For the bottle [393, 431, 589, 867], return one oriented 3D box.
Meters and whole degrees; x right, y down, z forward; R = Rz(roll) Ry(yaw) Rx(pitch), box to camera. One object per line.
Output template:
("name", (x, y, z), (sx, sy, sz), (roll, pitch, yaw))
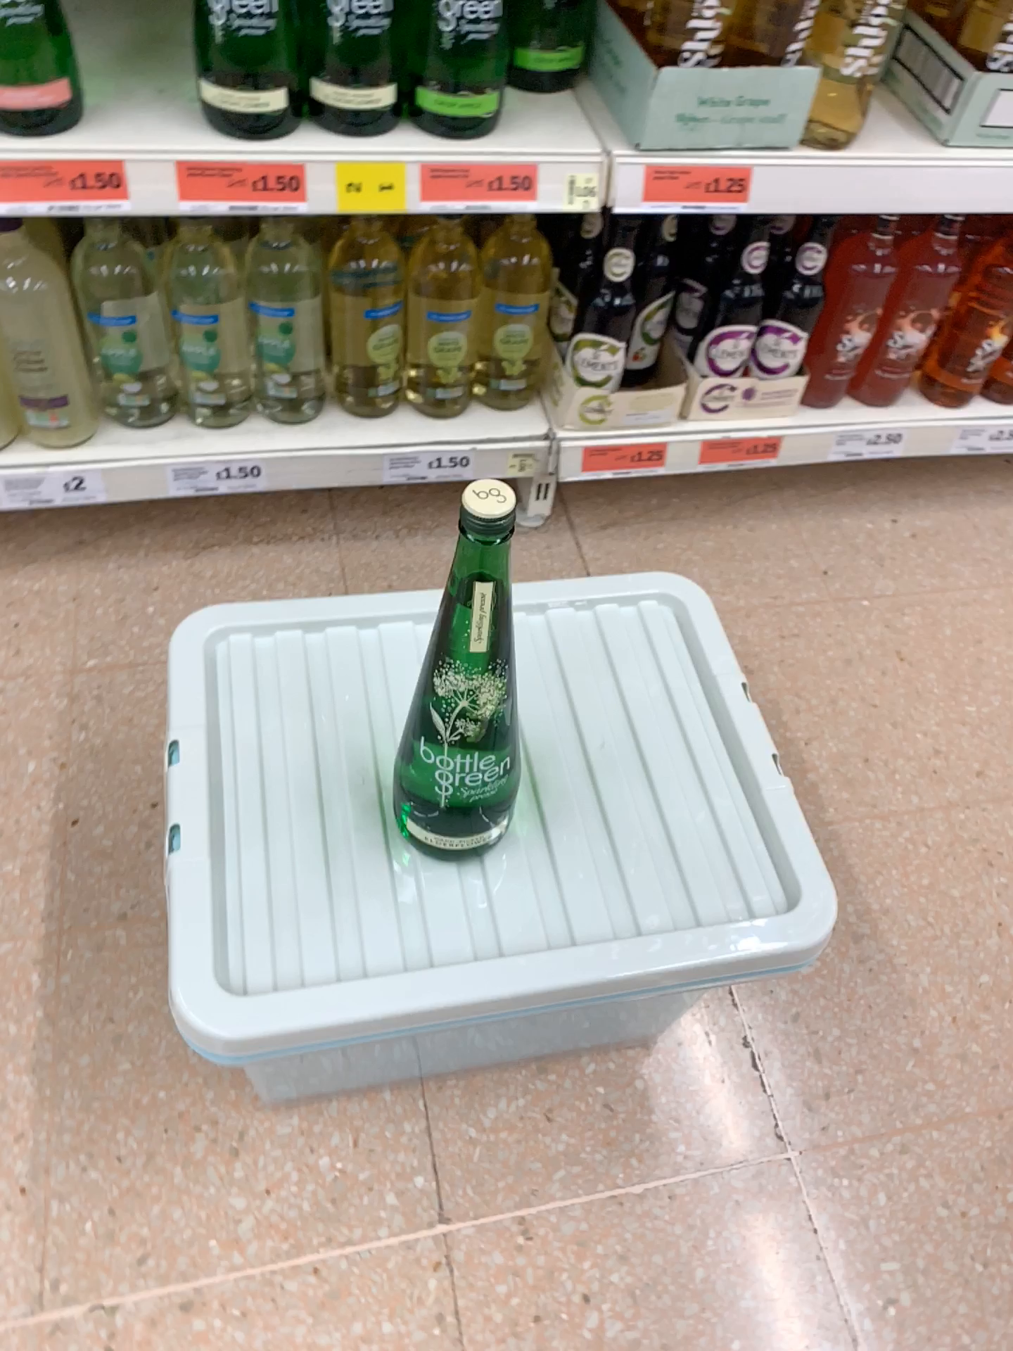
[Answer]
("bottle", (-0.022, 0.002, 0.630), (0.084, 0.298, 0.094), (0, 52, -8))
